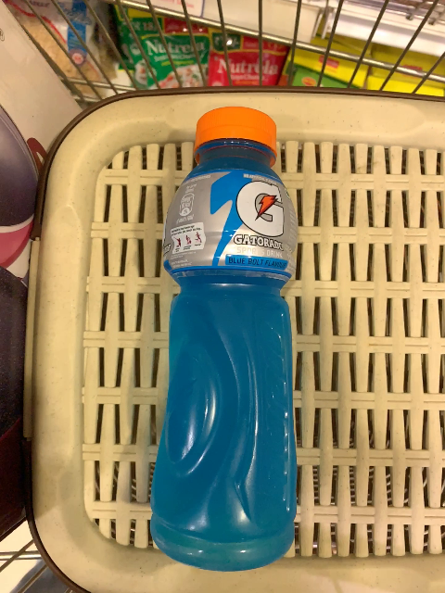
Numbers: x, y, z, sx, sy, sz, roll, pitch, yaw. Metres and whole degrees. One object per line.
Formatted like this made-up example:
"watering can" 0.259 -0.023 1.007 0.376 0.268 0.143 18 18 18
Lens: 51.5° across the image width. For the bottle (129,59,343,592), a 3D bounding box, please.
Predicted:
"bottle" 0.004 0.012 0.221 0.080 0.060 0.210 3 87 -17
